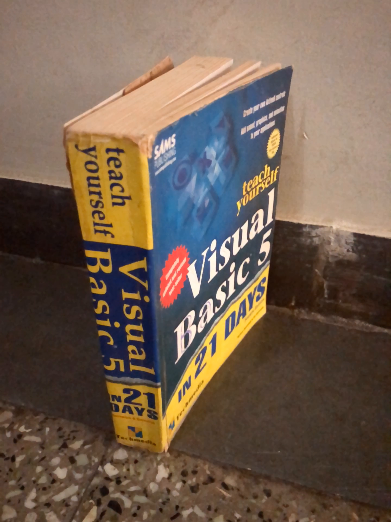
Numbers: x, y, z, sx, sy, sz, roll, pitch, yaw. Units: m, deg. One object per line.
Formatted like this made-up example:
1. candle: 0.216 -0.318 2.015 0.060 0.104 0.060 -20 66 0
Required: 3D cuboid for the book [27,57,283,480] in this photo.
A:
1. book: 0.005 -0.017 0.344 0.060 0.229 0.251 10 35 20
